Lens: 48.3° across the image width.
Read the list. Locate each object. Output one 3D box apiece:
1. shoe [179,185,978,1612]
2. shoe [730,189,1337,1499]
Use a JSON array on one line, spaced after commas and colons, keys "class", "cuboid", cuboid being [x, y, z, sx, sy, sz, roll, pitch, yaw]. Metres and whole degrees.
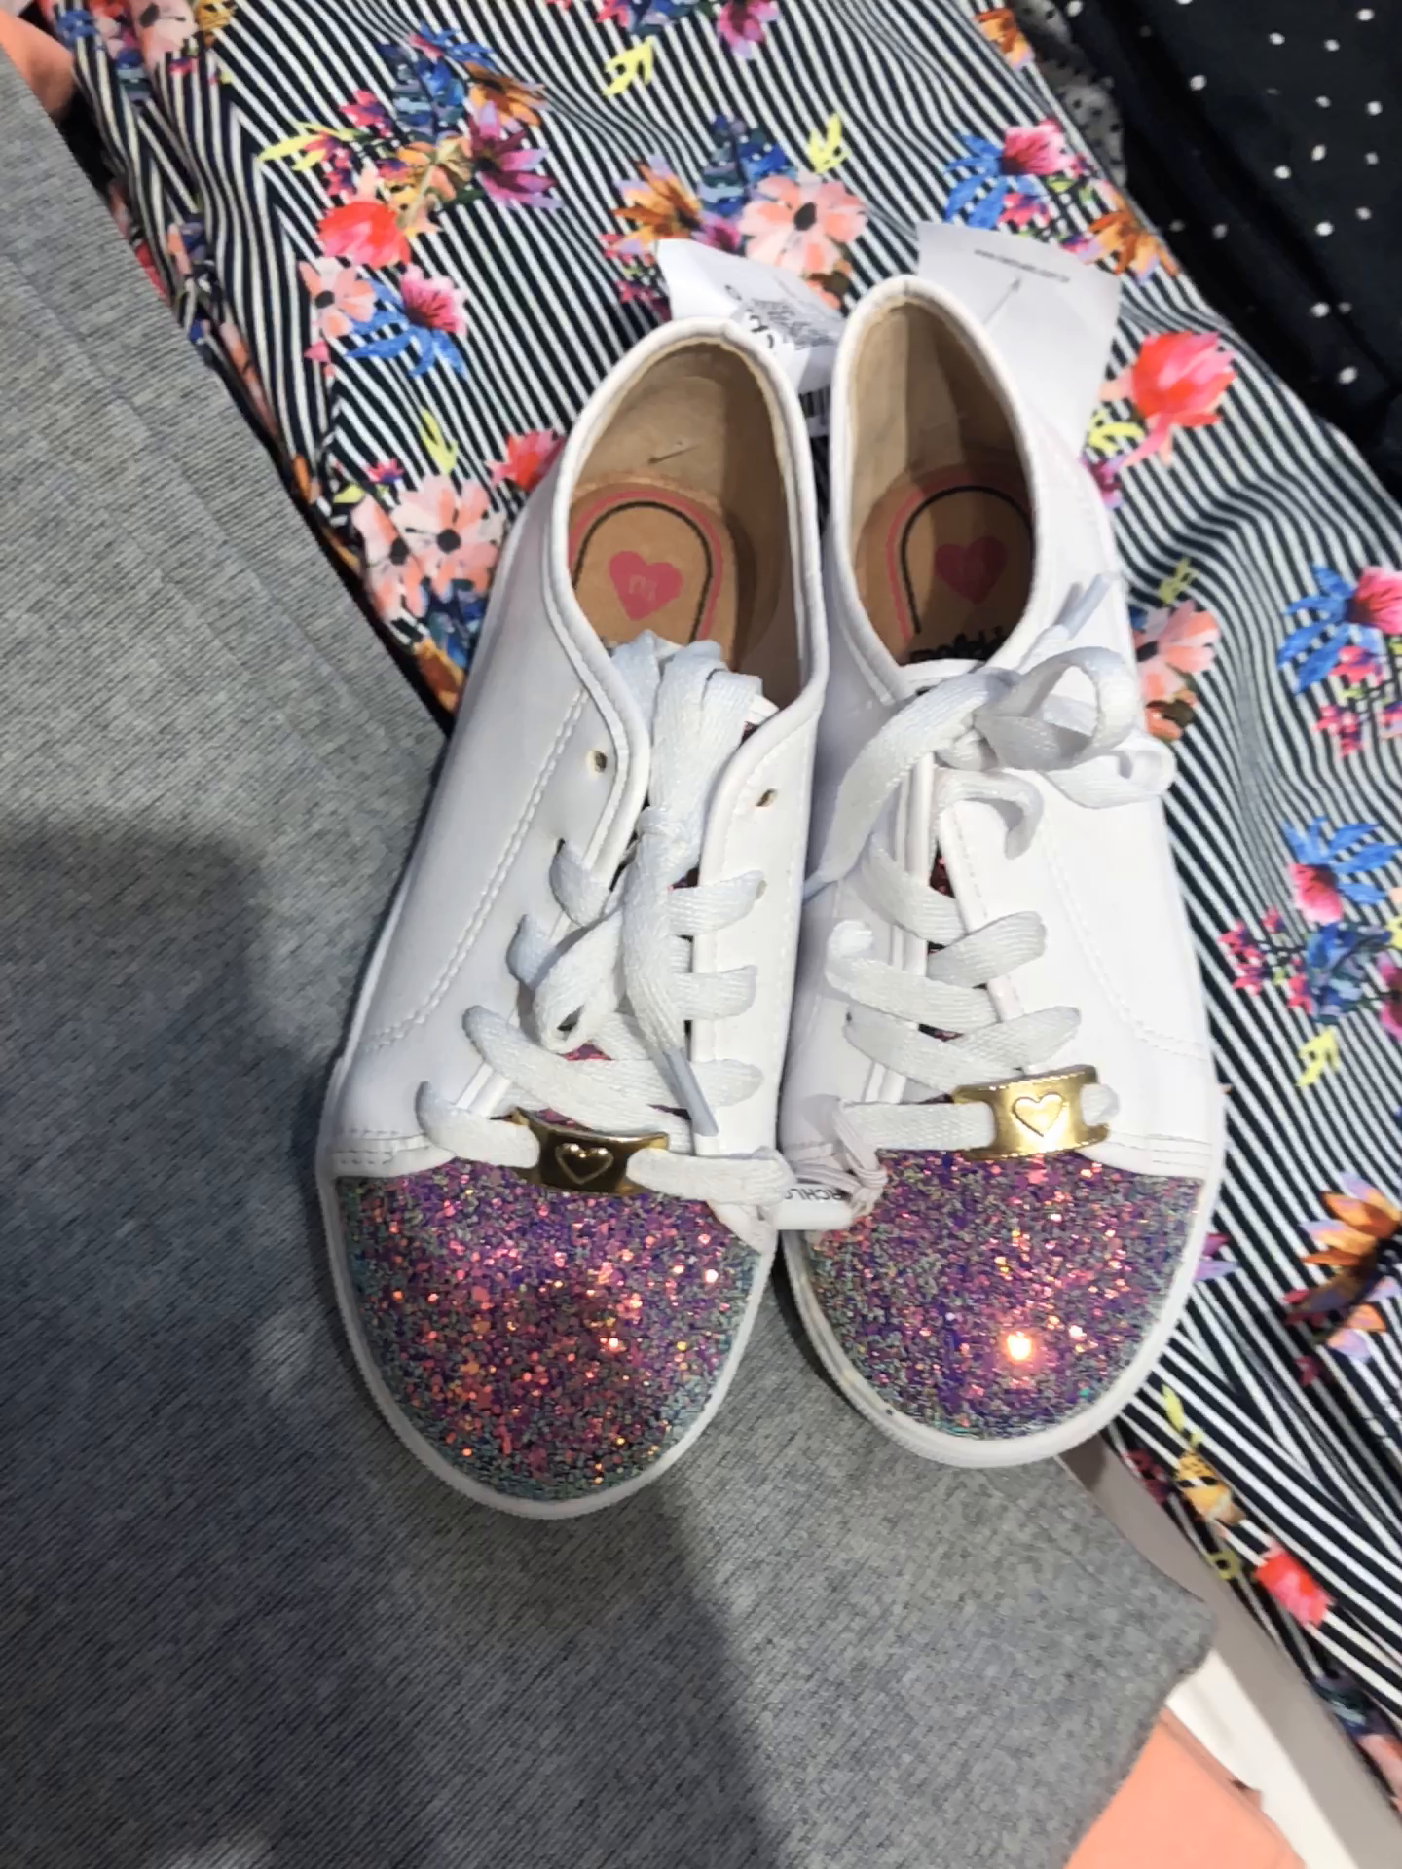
[{"class": "shoe", "cuboid": [-0.016, -0.005, 0.249, 0.080, 0.070, 0.190, 10, 77, -7]}, {"class": "shoe", "cuboid": [0.048, -0.015, 0.267, 0.080, 0.070, 0.200, 1, 78, -1]}]
